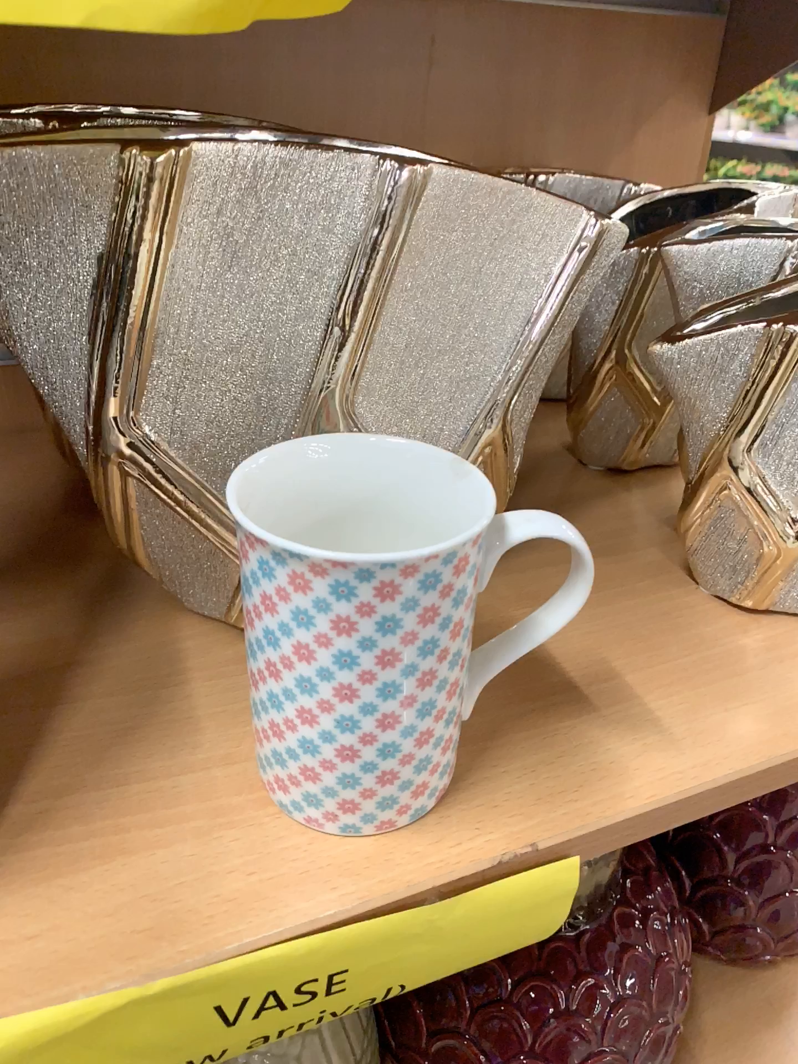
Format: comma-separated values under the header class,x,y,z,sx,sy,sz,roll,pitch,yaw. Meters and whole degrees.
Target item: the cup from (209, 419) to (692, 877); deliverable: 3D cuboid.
class,x,y,z,sx,sy,sz,roll,pitch,yaw
cup,0.007,0.032,0.261,0.120,0.110,0.080,-3,29,-9
